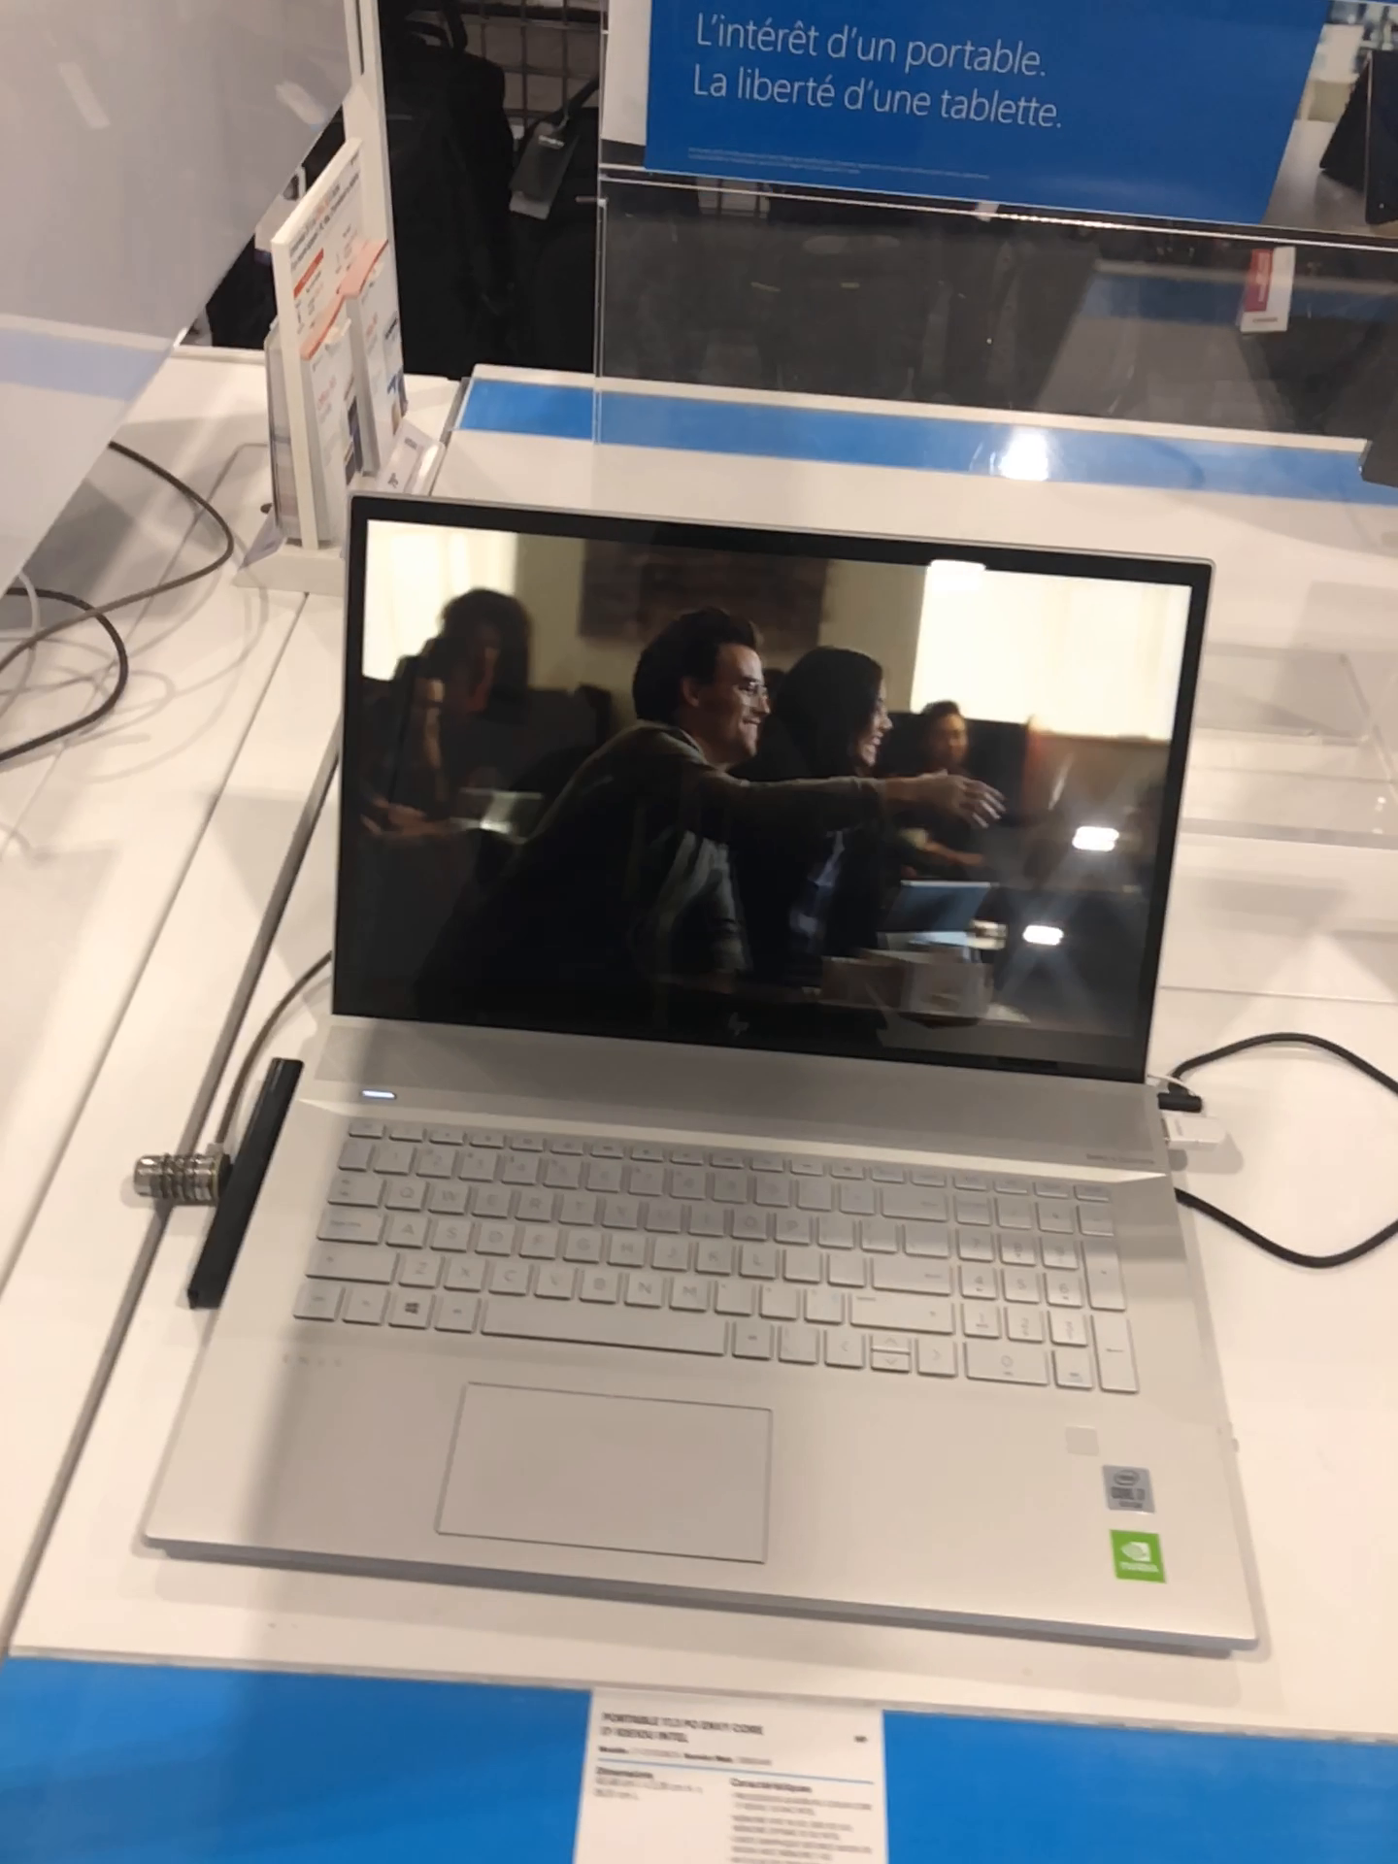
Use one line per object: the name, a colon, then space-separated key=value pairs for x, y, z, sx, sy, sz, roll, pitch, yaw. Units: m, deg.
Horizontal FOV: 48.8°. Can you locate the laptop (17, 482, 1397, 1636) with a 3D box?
laptop: x=0.017 y=0.022 z=0.627 sx=0.390 sy=0.199 sz=0.399 roll=5 pitch=43 yaw=0
